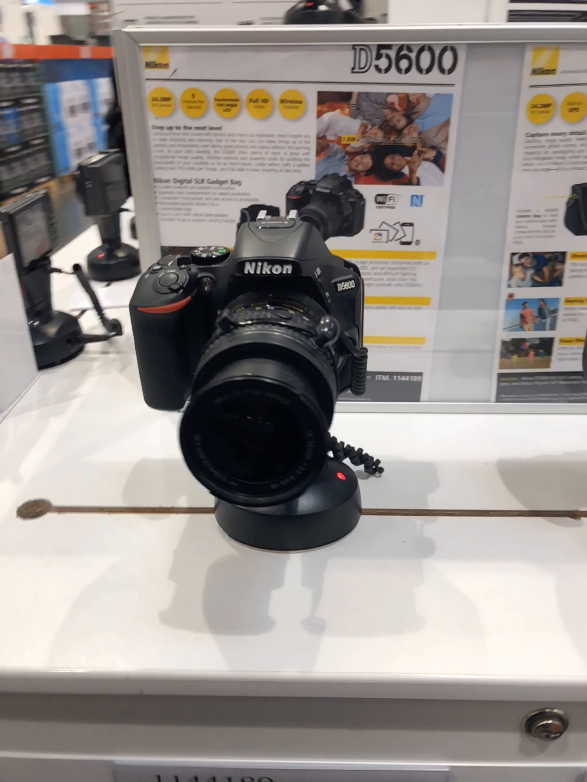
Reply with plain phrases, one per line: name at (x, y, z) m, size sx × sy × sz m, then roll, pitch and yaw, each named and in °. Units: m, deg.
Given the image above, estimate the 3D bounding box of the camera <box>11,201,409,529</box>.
camera at (-0.024, -0.027, 0.318) m, size 0.140 × 0.099 × 0.161 m, roll 1°, pitch 27°, yaw 4°
